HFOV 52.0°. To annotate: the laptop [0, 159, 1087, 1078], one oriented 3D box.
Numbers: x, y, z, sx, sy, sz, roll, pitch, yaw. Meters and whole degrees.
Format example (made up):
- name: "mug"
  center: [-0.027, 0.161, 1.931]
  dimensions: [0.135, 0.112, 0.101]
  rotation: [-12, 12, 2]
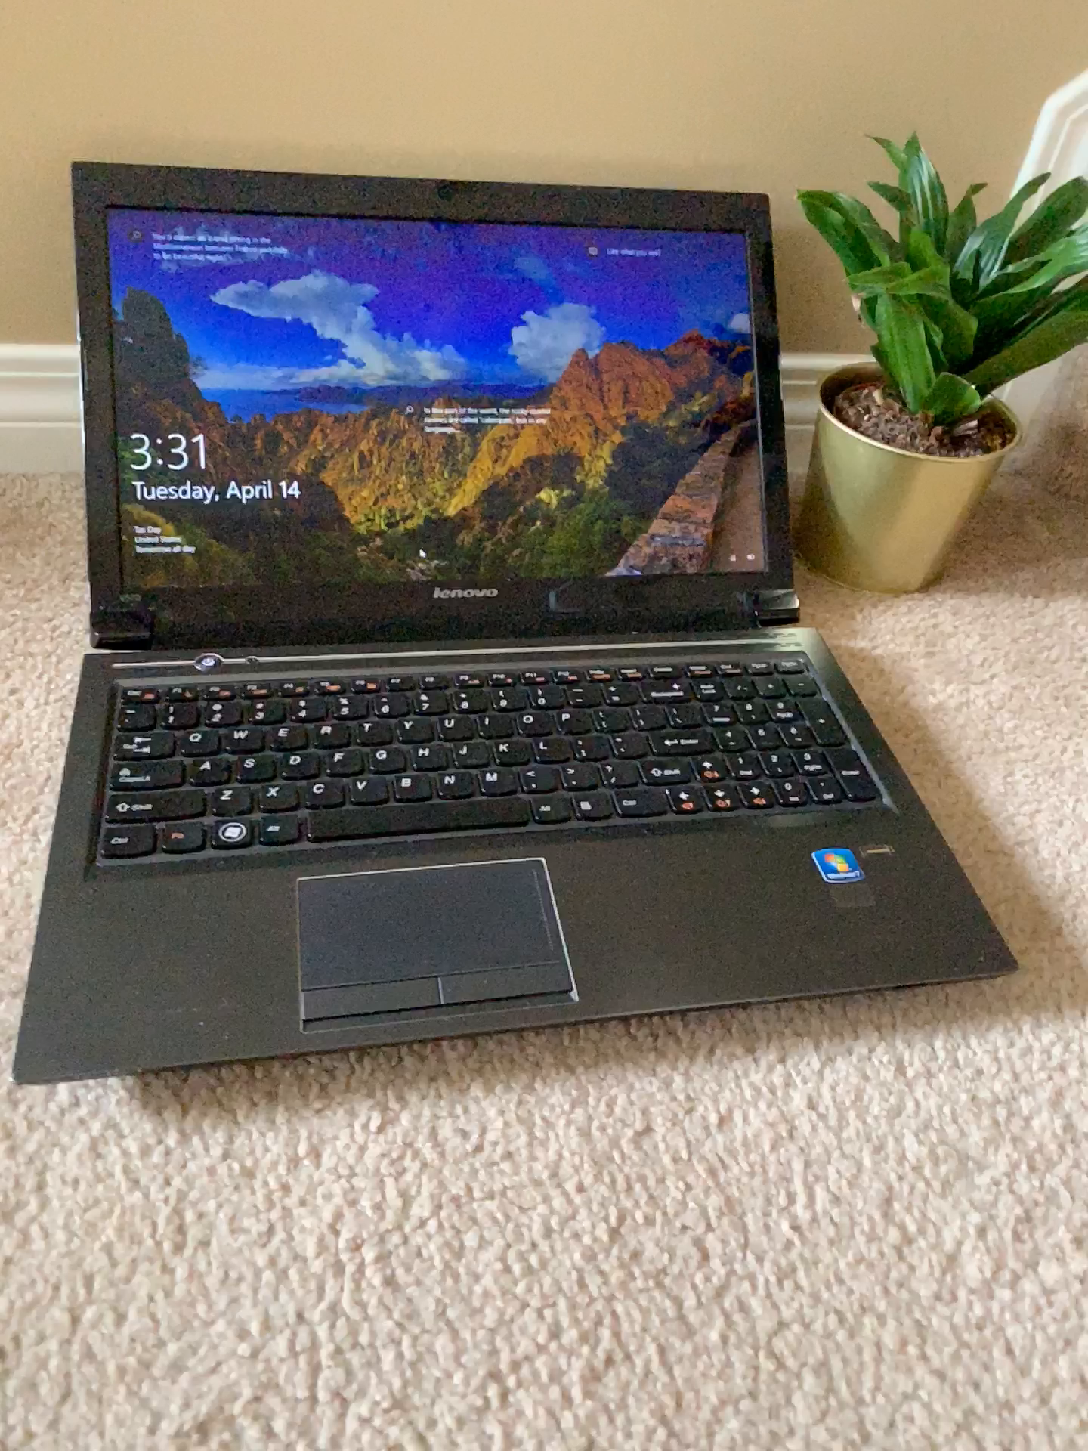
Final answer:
- name: "laptop"
  center: [-0.026, -0.091, 0.501]
  dimensions: [0.372, 0.166, 0.412]
  rotation: [-3, 42, -13]
